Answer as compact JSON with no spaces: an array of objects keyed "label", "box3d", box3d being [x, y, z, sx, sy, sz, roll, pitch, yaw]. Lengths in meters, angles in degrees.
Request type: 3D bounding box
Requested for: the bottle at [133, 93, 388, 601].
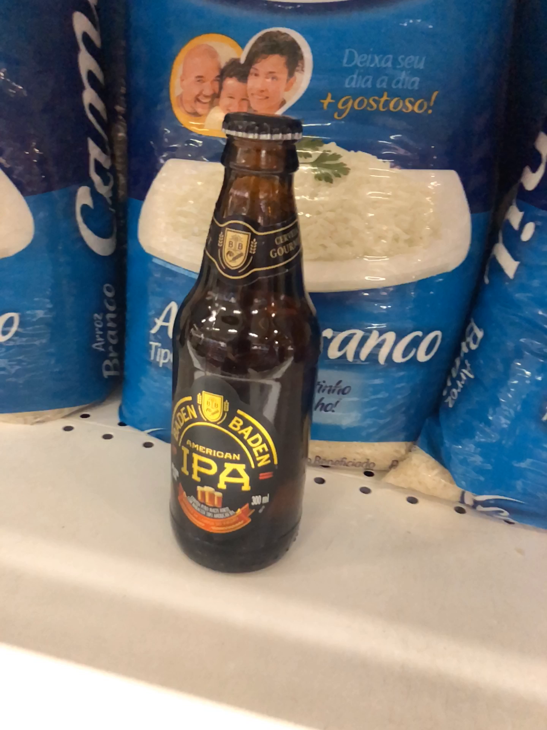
[{"label":"bottle","box3d":[-0.009,-0.005,0.250,0.070,0.189,0.060,14,28,17]}]
